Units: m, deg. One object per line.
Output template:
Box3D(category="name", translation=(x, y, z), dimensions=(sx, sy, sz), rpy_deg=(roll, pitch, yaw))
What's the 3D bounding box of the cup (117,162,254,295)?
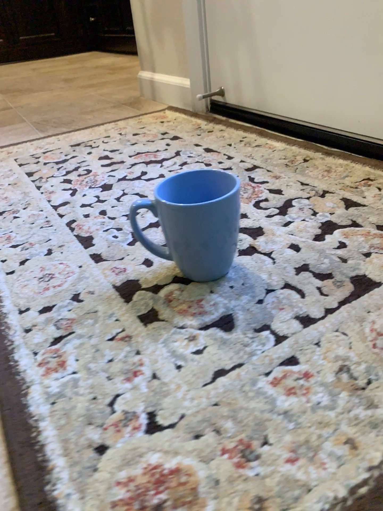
Box3D(category="cup", translation=(-0.006, -0.031, 0.408), dimensions=(0.120, 0.089, 0.091), rpy_deg=(-8, 32, -3))
